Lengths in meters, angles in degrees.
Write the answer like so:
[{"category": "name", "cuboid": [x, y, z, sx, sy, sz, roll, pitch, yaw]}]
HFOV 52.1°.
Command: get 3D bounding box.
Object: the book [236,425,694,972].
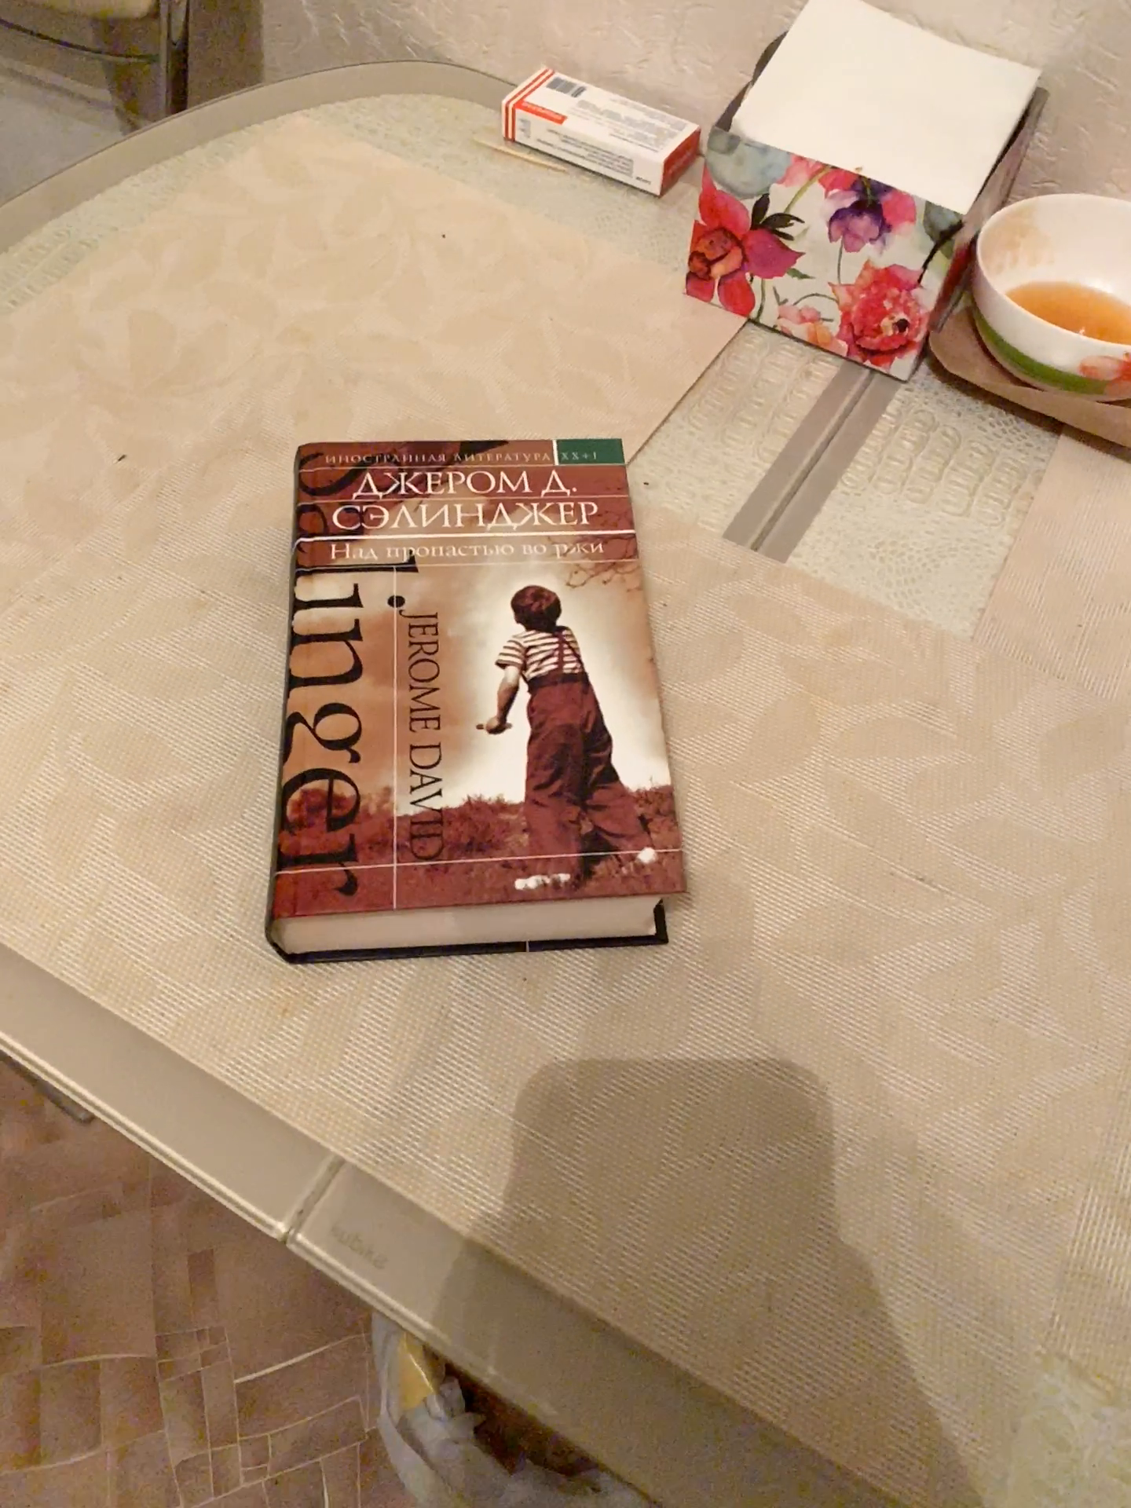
[{"category": "book", "cuboid": [-0.041, -0.032, 0.457, 0.150, 0.049, 0.221, -2, 59, -5]}]
